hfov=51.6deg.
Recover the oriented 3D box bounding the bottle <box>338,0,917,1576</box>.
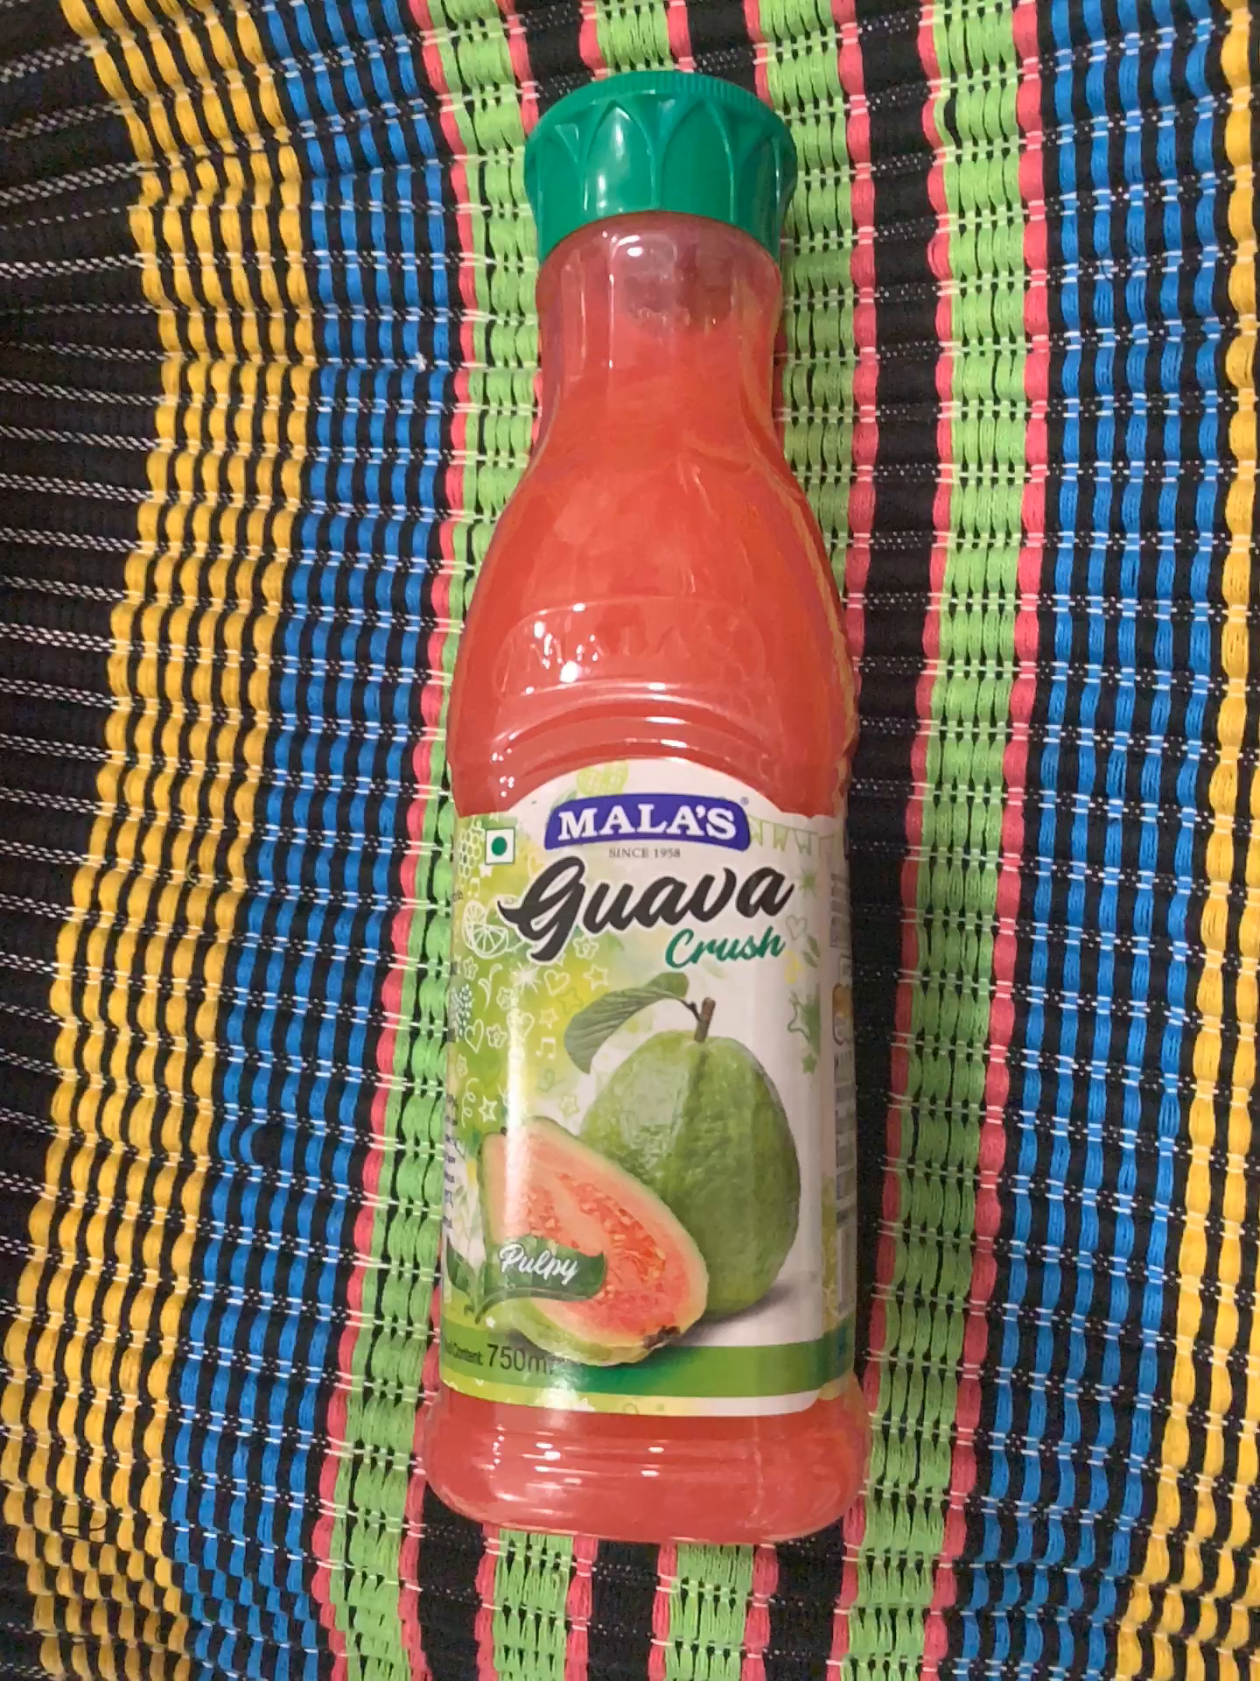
[{"bbox_3d":[0.004,-0.022,0.241,0.080,0.080,0.260,-2,79,8],"label":"bottle"}]
